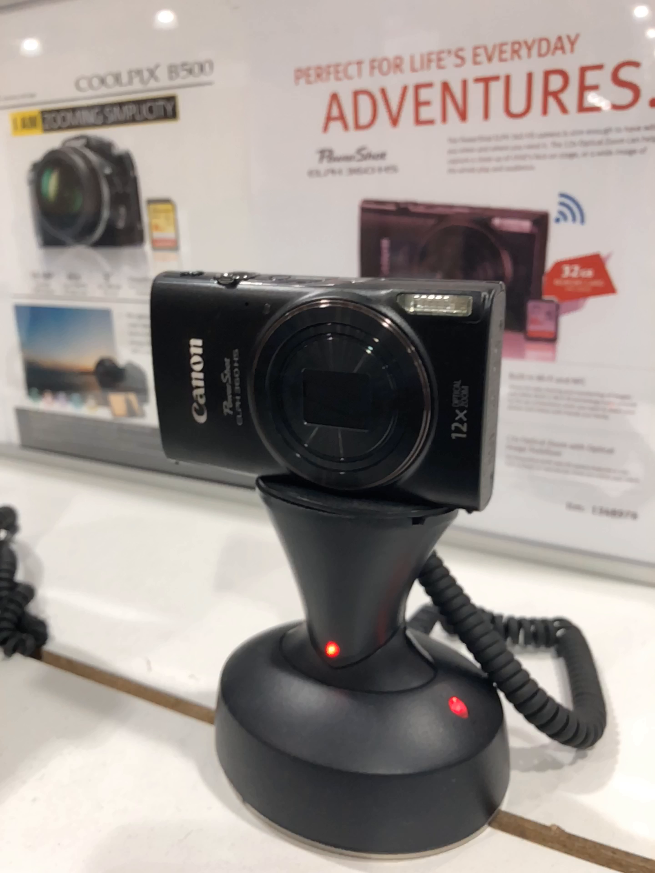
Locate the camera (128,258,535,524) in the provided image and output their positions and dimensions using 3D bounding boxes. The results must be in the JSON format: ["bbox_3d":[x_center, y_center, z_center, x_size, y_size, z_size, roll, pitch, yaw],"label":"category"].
[{"bbox_3d":[-0.001,-0.018,0.213,0.110,0.060,0.030,8,20,26],"label":"camera"}]
